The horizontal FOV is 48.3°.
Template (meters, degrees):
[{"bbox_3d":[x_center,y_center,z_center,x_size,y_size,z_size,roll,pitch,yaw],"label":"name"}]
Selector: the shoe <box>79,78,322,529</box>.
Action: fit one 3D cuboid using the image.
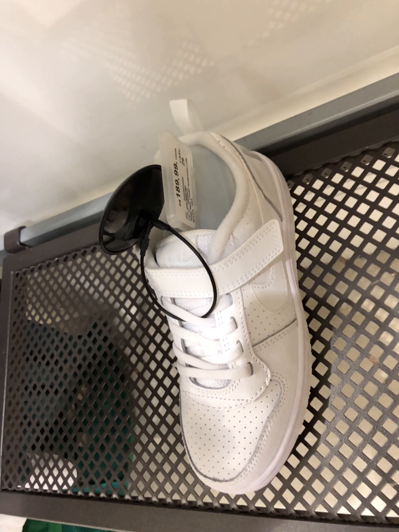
[{"bbox_3d":[0.012,0.019,0.256,0.080,0.100,0.200,-5,72,35],"label":"shoe"}]
